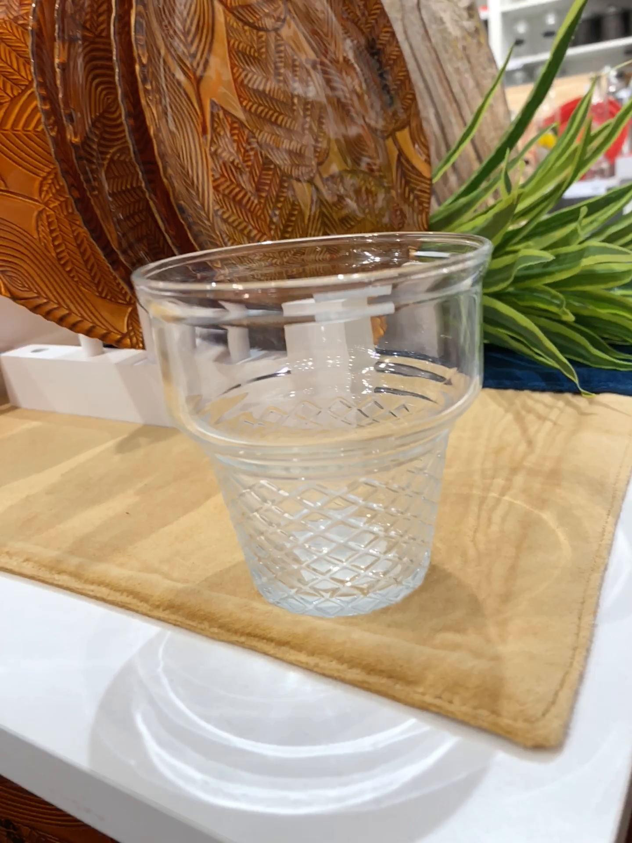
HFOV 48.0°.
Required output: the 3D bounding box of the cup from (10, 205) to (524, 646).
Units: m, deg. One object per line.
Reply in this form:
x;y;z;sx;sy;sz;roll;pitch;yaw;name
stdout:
-0.002;-0.006;0.159;0.080;0.070;0.080;-6;18;2;cup
